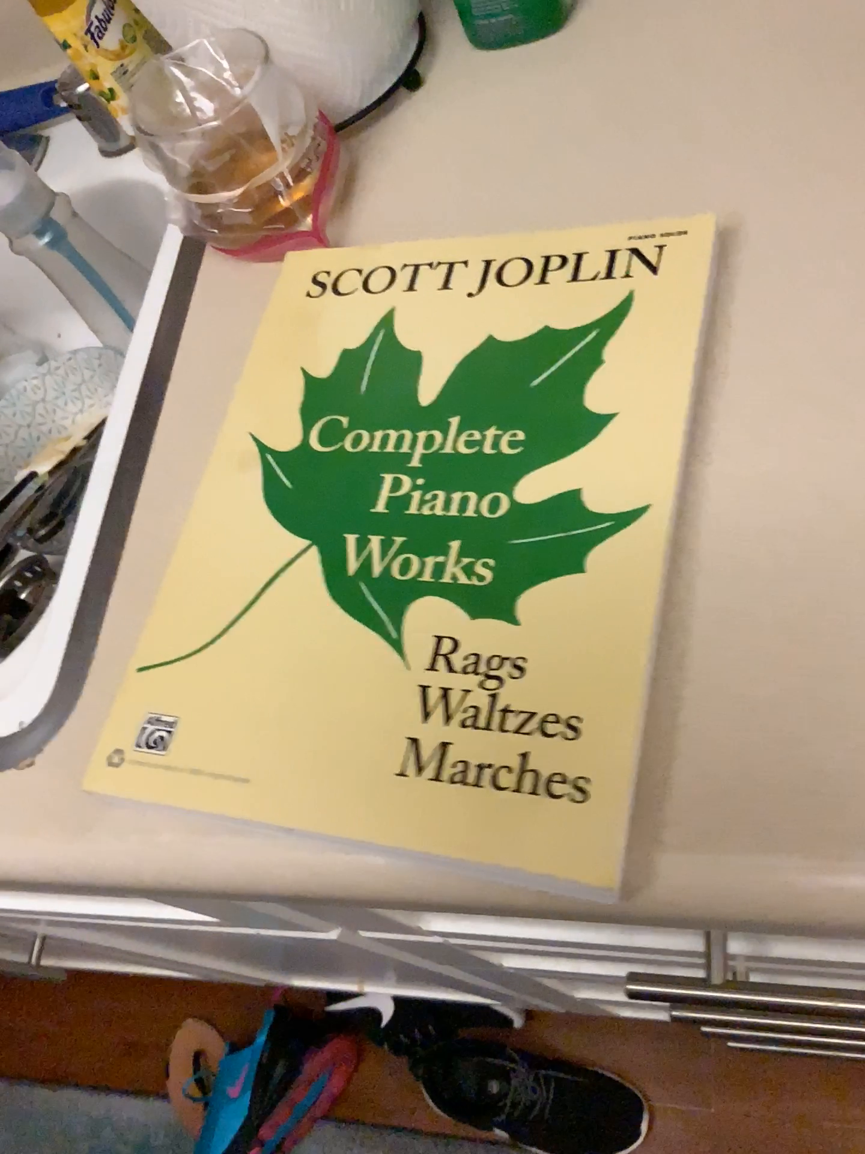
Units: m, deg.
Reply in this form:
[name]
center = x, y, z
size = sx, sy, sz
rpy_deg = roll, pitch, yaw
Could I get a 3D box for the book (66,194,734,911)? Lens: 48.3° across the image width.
[book]
center = -0.005, -0.037, 0.445
size = 0.240, 0.030, 0.320
rpy_deg = 4, 64, 24
